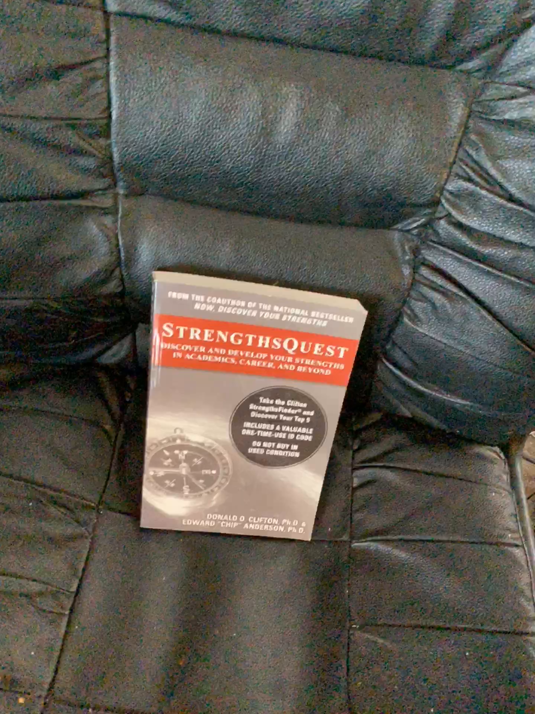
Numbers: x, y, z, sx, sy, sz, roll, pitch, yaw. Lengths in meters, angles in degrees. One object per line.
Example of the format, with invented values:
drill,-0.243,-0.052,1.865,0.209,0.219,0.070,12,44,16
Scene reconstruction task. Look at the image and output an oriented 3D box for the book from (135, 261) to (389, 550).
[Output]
book,-0.016,0.052,0.434,0.170,0.239,0.030,5,28,-4
